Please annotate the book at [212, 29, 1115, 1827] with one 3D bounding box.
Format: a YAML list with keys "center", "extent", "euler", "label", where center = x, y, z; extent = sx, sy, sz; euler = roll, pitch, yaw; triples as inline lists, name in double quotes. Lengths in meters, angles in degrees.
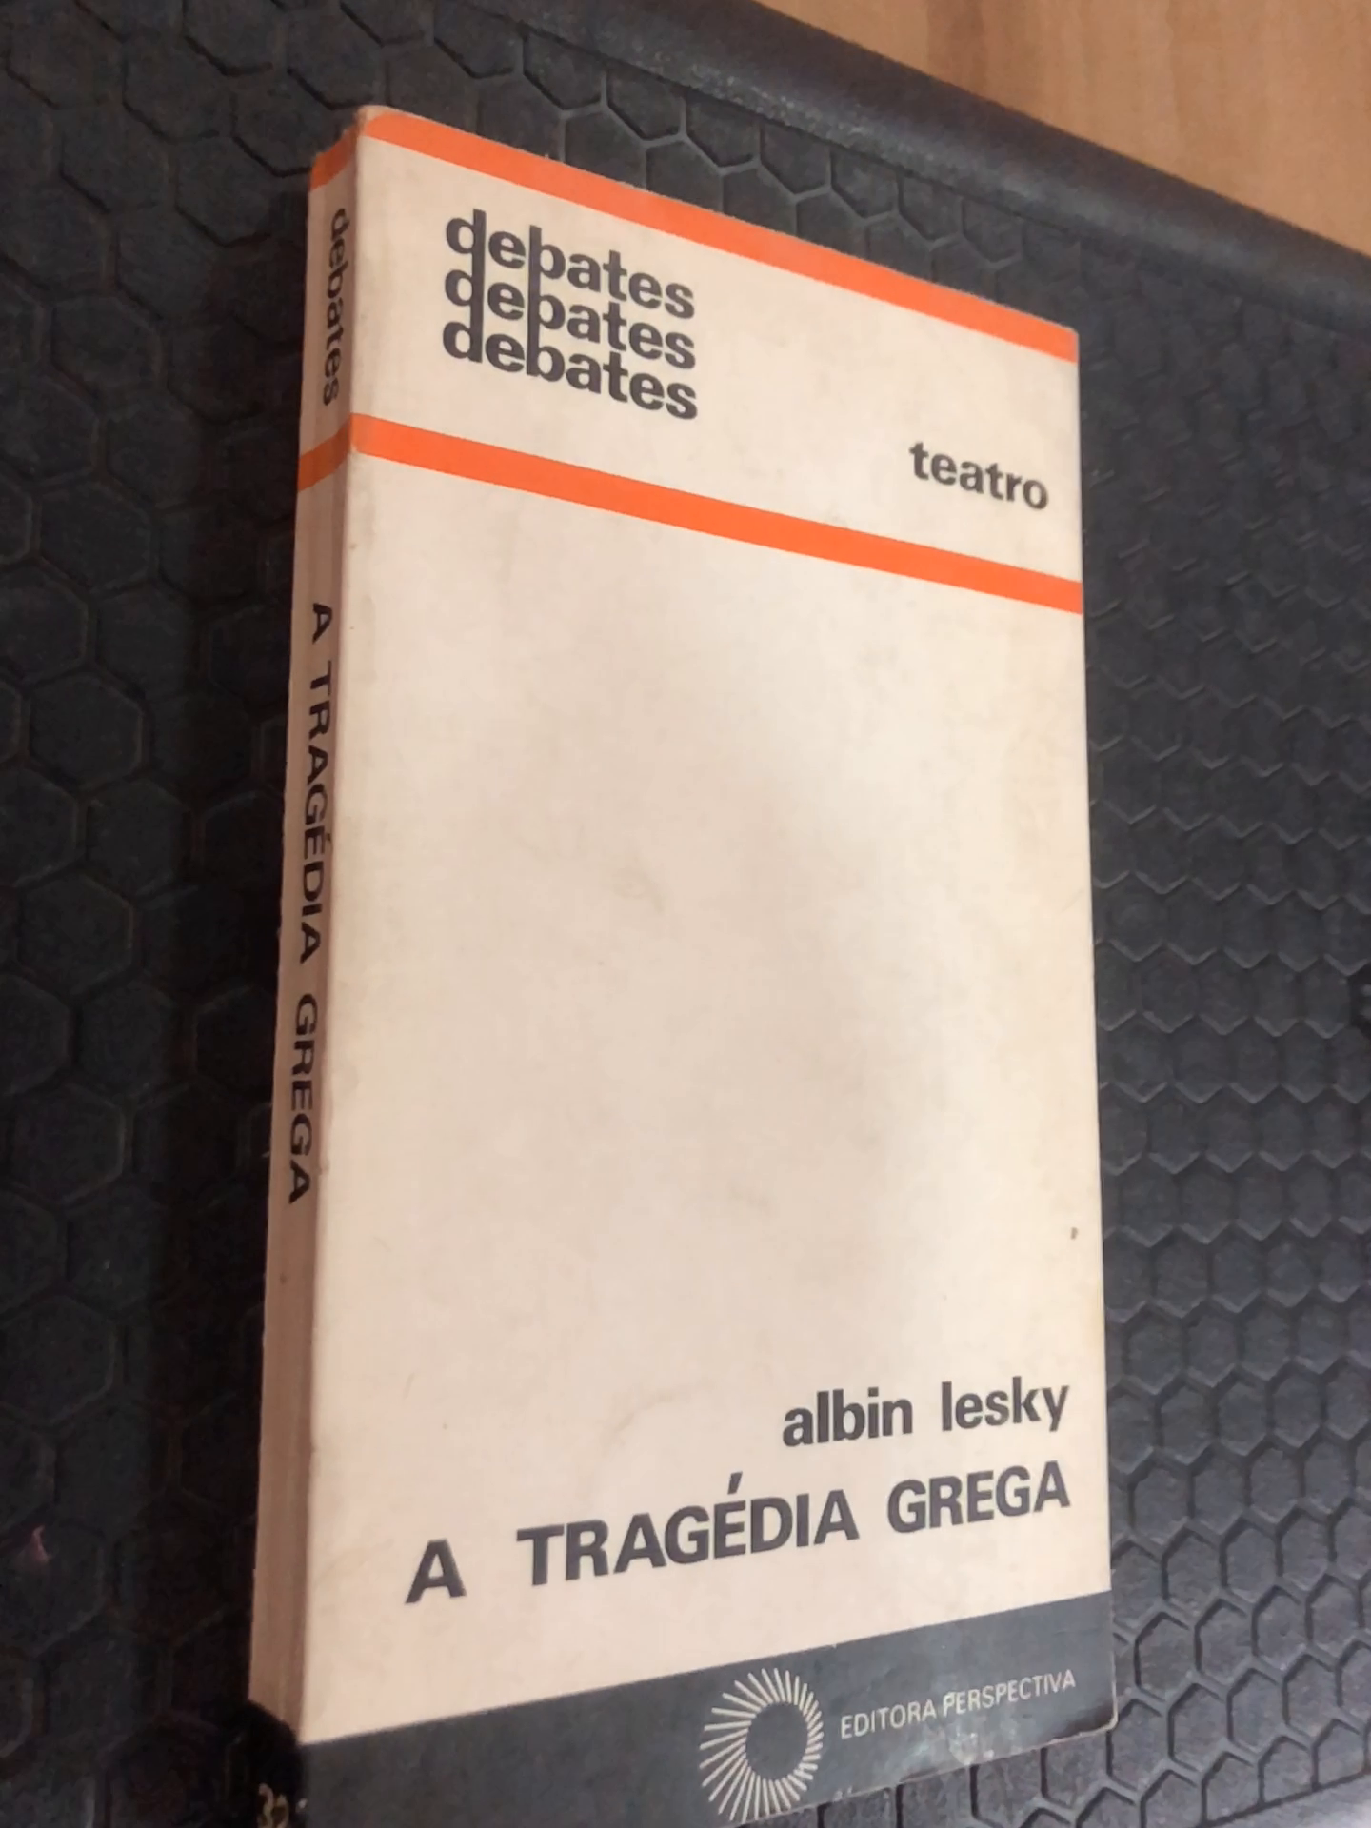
- center: [0.004, 0.005, 0.200]
  extent: [0.114, 0.020, 0.207]
  euler: [5, 81, -29]
  label: "book"
